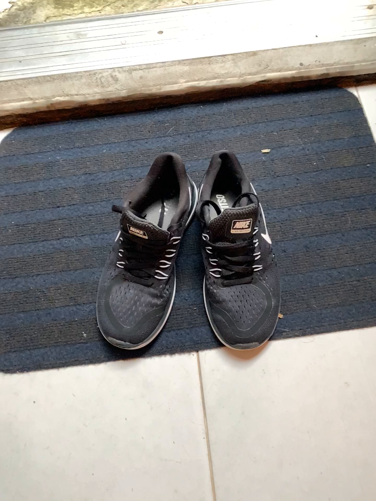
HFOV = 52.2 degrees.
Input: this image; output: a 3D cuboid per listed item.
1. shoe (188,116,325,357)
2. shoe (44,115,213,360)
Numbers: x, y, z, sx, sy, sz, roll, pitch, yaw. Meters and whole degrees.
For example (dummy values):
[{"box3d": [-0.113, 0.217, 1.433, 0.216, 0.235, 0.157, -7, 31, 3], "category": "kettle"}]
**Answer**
[{"box3d": [0.065, -0.015, 0.452, 0.106, 0.119, 0.248, -5, 67, 0], "category": "shoe"}, {"box3d": [-0.052, -0.015, 0.457, 0.104, 0.119, 0.248, 13, 68, 8], "category": "shoe"}]
